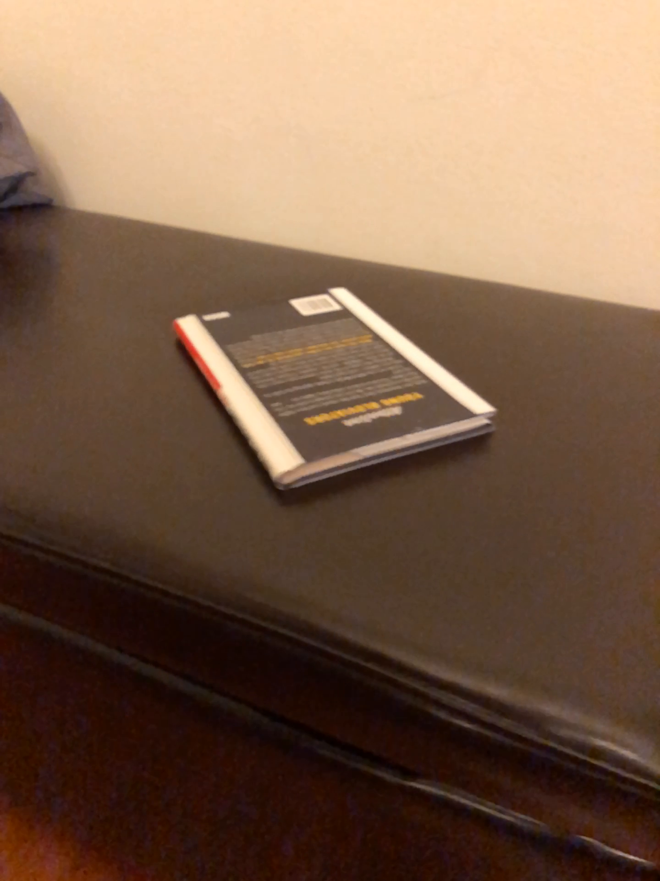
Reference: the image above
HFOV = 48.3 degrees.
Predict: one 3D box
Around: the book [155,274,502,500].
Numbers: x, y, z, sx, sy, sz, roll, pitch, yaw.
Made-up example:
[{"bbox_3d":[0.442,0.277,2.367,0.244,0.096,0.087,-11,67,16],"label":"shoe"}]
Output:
[{"bbox_3d":[-0.014,-0.055,0.521,0.160,0.020,0.231,-15,38,-21],"label":"book"}]
